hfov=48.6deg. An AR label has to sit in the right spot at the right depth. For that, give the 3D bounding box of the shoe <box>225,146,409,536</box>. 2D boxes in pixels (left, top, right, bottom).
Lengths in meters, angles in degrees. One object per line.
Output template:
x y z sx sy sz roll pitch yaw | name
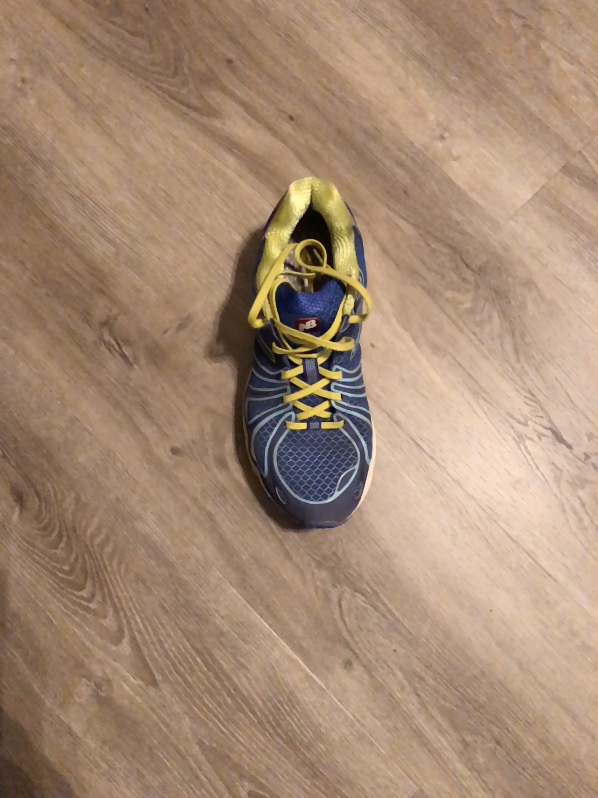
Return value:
0.010 -0.034 0.466 0.110 0.100 0.250 -1 81 0 | shoe
